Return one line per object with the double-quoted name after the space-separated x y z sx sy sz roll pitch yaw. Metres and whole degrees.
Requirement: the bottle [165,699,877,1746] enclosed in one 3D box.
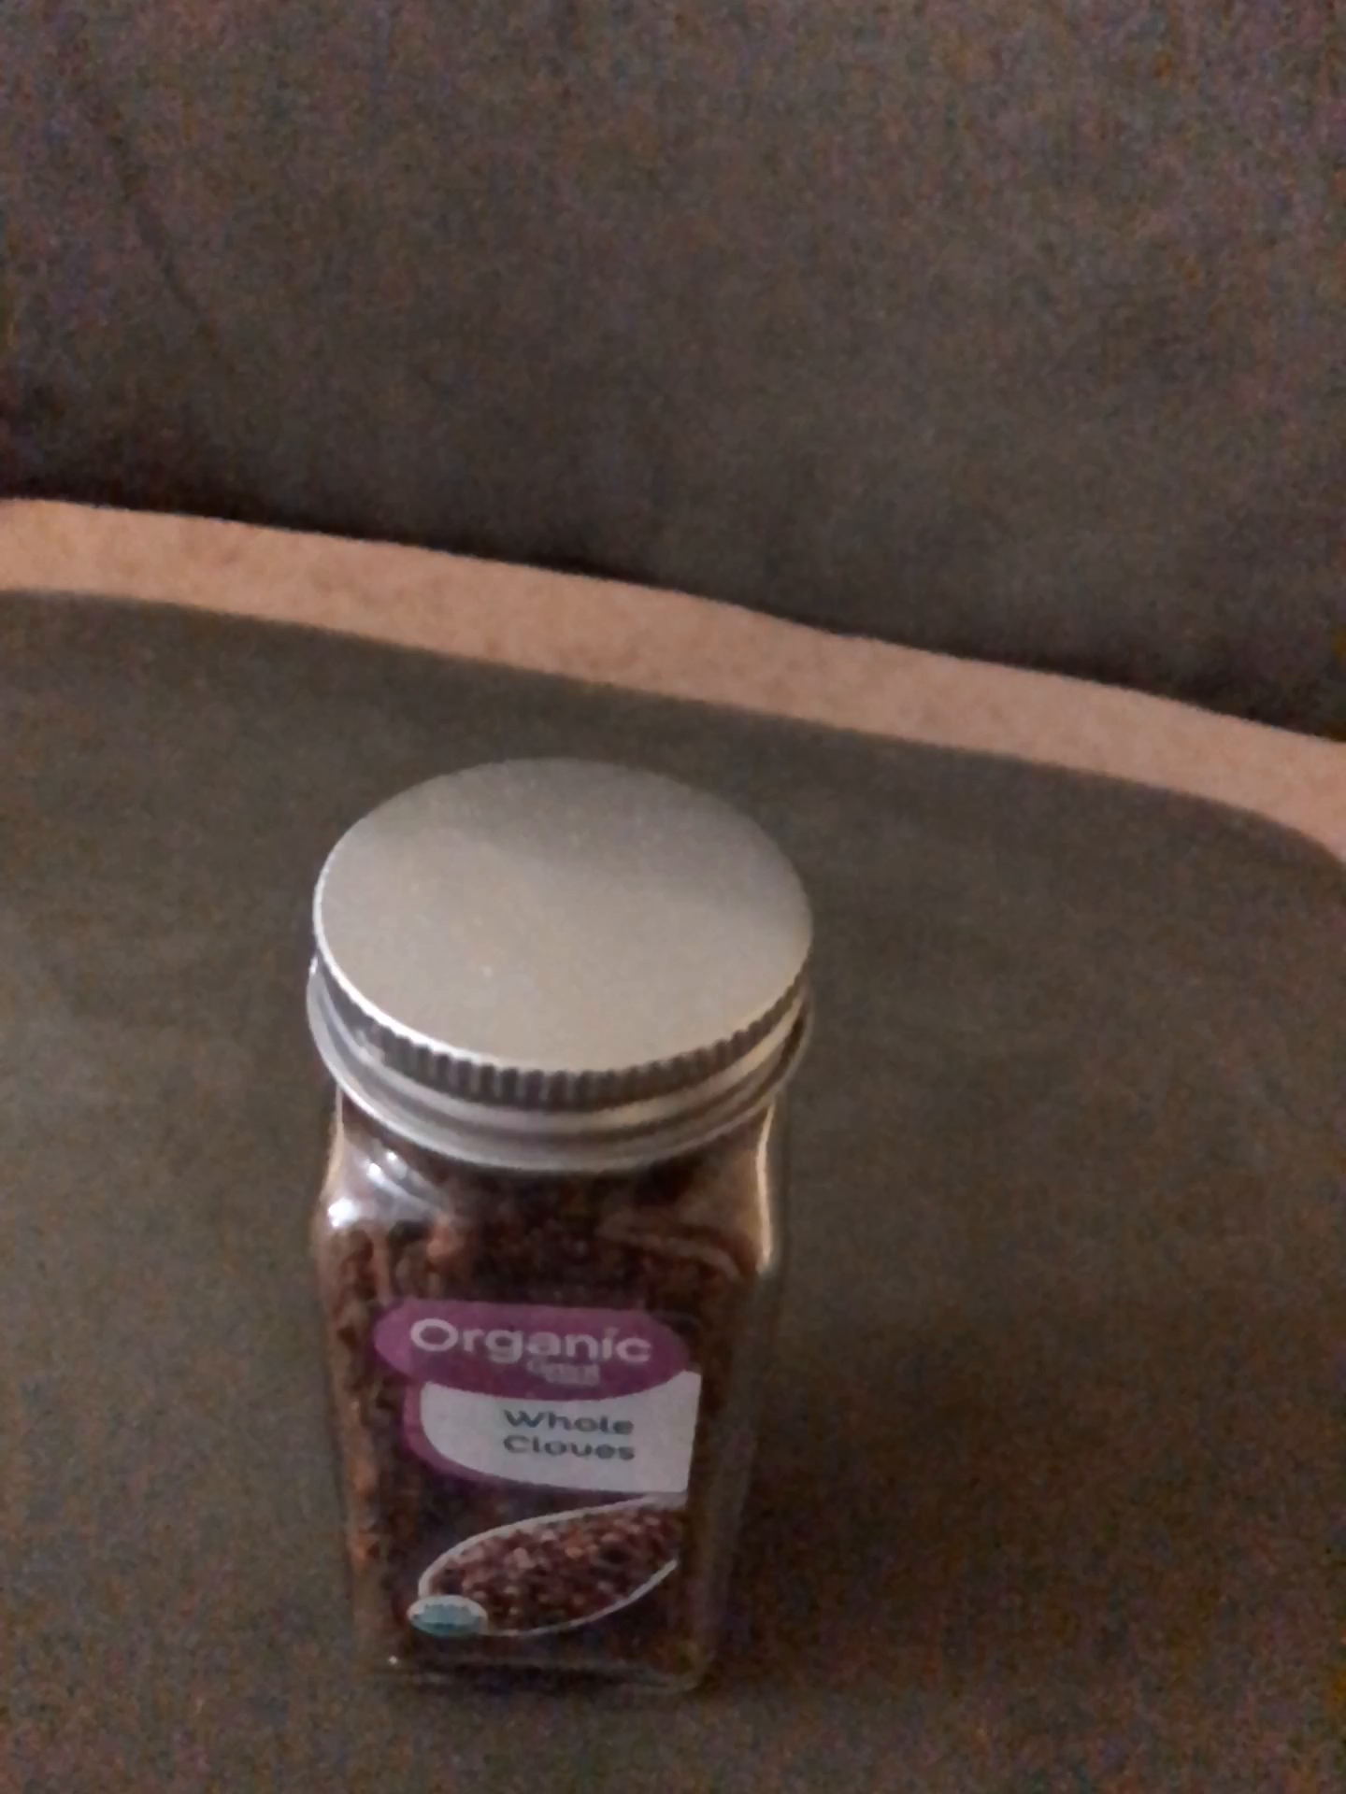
-0.012 0.038 0.157 0.050 0.100 0.050 2 39 -2 "bottle"
